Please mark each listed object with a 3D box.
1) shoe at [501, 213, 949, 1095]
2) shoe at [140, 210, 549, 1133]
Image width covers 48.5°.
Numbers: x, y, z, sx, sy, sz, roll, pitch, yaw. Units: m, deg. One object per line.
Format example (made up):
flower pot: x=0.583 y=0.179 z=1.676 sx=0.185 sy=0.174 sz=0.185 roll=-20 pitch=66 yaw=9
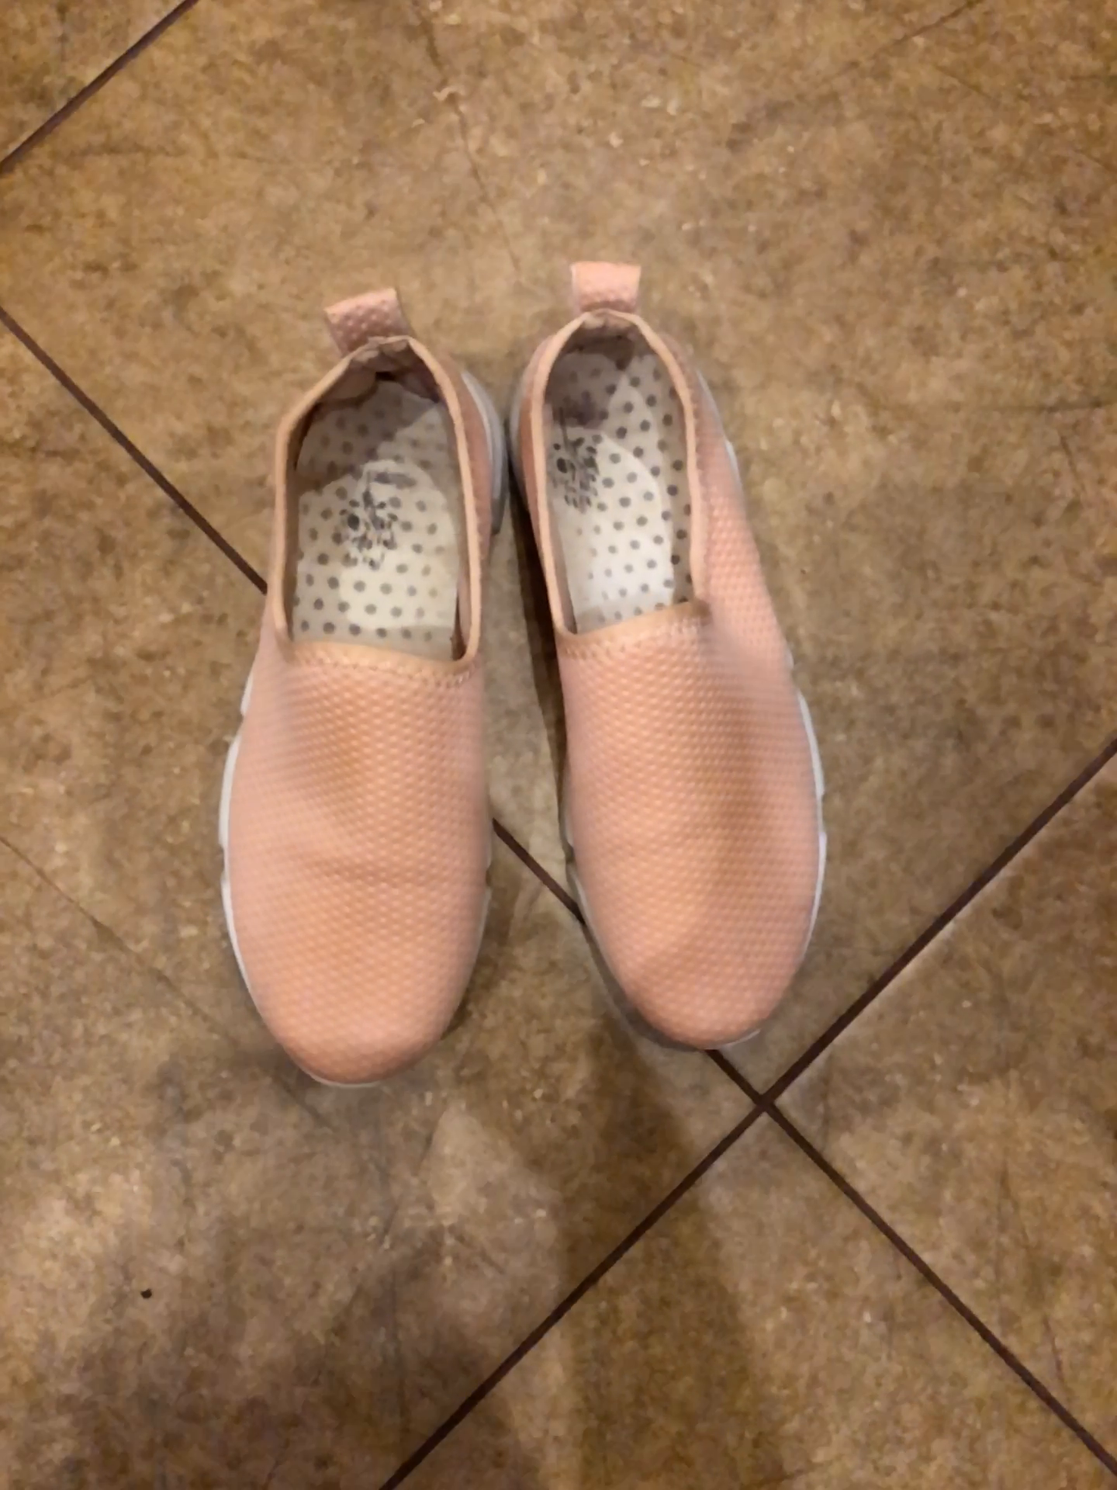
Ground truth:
shoe: x=0.042 y=-0.024 z=0.383 sx=0.090 sy=0.100 sz=0.230 roll=-7 pitch=86 yaw=-2
shoe: x=-0.057 y=-0.018 z=0.387 sx=0.090 sy=0.120 sz=0.240 roll=4 pitch=86 yaw=-2
